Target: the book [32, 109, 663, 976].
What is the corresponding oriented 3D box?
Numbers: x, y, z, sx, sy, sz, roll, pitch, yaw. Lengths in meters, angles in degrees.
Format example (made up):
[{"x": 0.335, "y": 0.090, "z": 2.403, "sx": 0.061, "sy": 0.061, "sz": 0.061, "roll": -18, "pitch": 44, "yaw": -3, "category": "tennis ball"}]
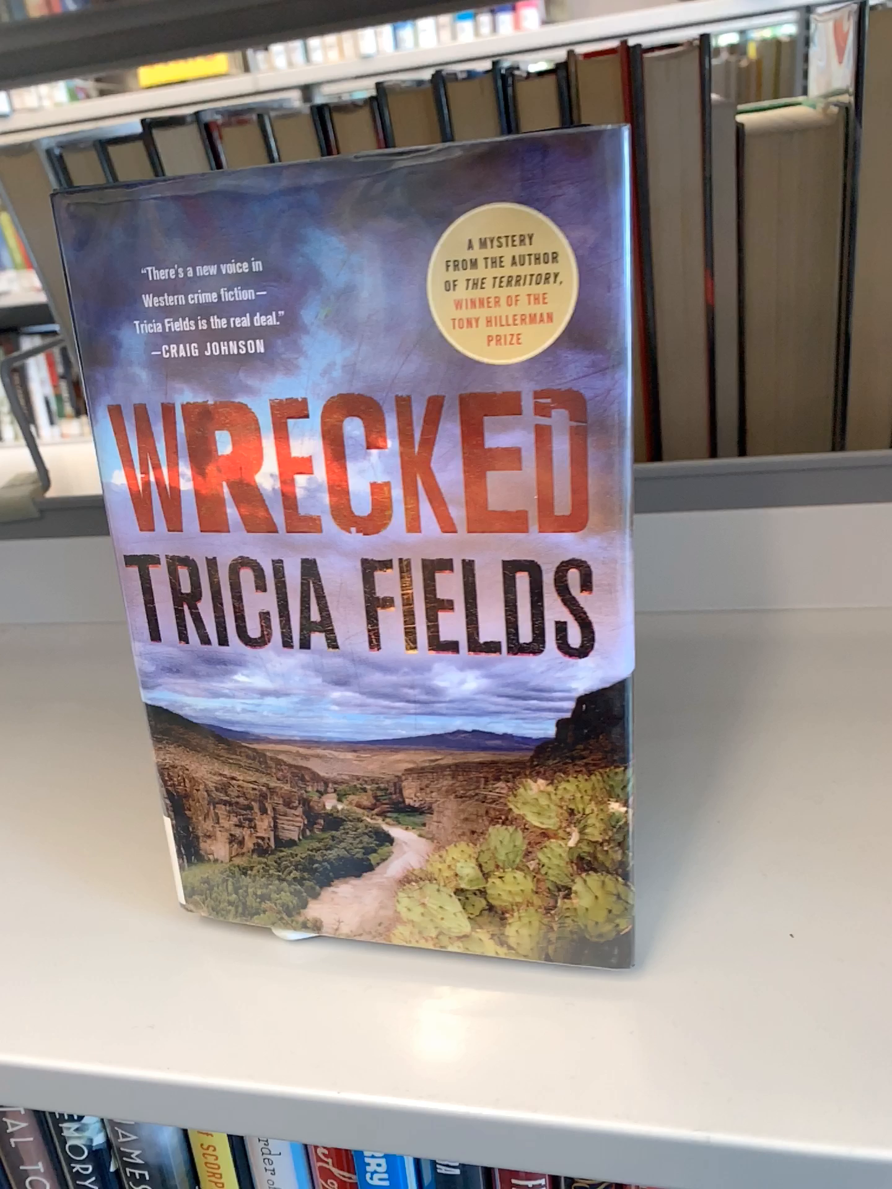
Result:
[{"x": -0.018, "y": -0.003, "z": 0.256, "sx": 0.147, "sy": 0.213, "sz": 0.035, "roll": 0, "pitch": 18, "yaw": 16, "category": "book"}]
